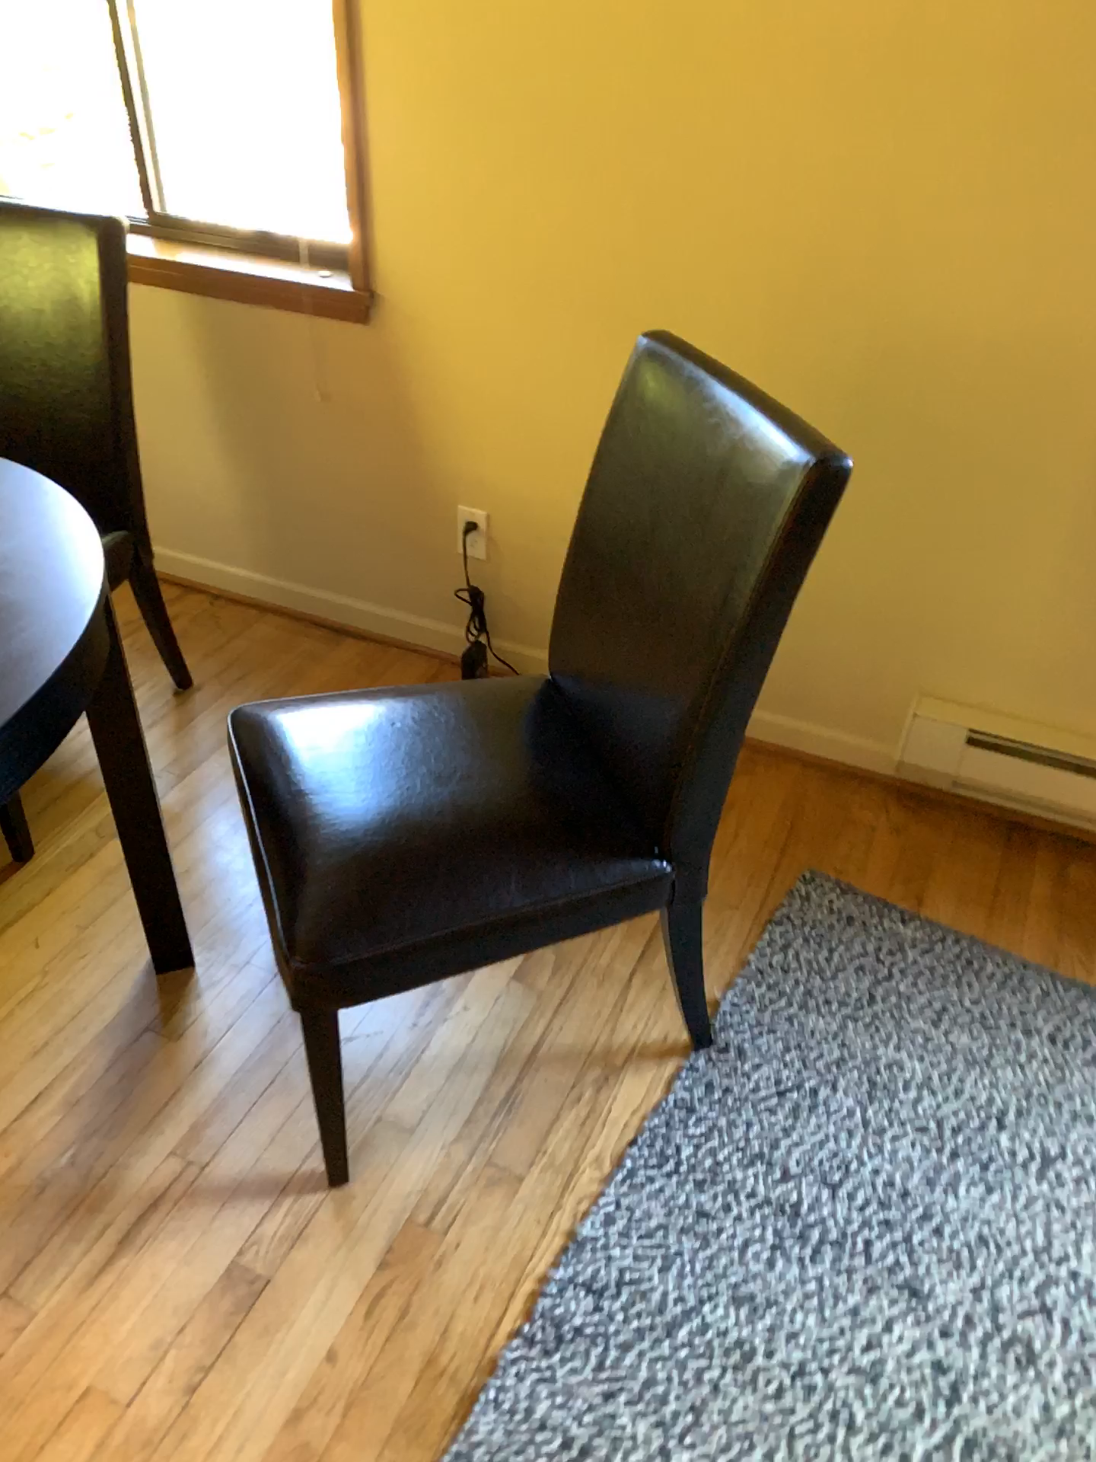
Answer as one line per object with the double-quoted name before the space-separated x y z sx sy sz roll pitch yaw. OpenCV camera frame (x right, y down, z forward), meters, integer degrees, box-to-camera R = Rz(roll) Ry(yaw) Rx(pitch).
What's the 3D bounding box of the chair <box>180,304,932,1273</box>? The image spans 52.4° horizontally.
"chair" -0.046 0.077 1.563 0.650 1.083 0.624 -13 39 -18
